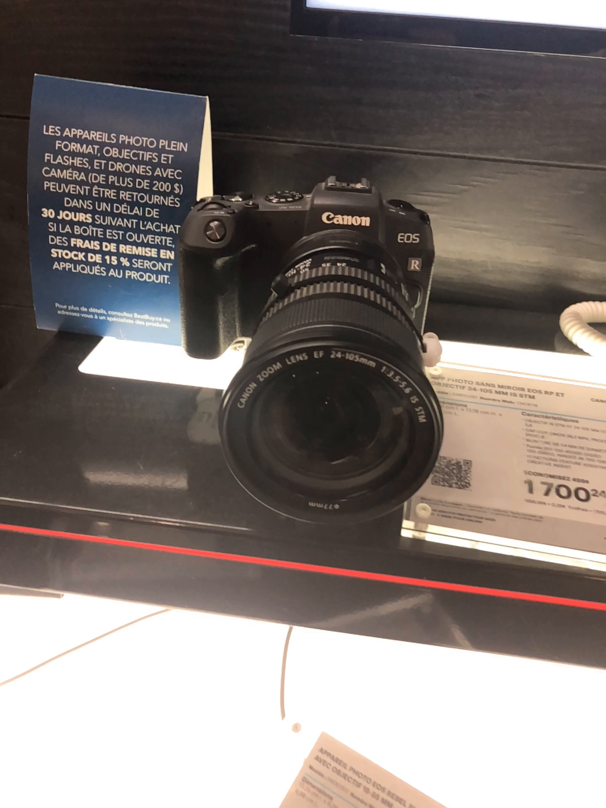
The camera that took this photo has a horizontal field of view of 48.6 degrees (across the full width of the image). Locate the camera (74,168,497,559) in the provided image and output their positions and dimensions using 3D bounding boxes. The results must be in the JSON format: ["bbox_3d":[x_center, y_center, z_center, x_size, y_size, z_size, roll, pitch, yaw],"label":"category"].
[{"bbox_3d":[-0.002,-0.035,0.304,0.128,0.099,0.178,5,29,2],"label":"camera"}]
